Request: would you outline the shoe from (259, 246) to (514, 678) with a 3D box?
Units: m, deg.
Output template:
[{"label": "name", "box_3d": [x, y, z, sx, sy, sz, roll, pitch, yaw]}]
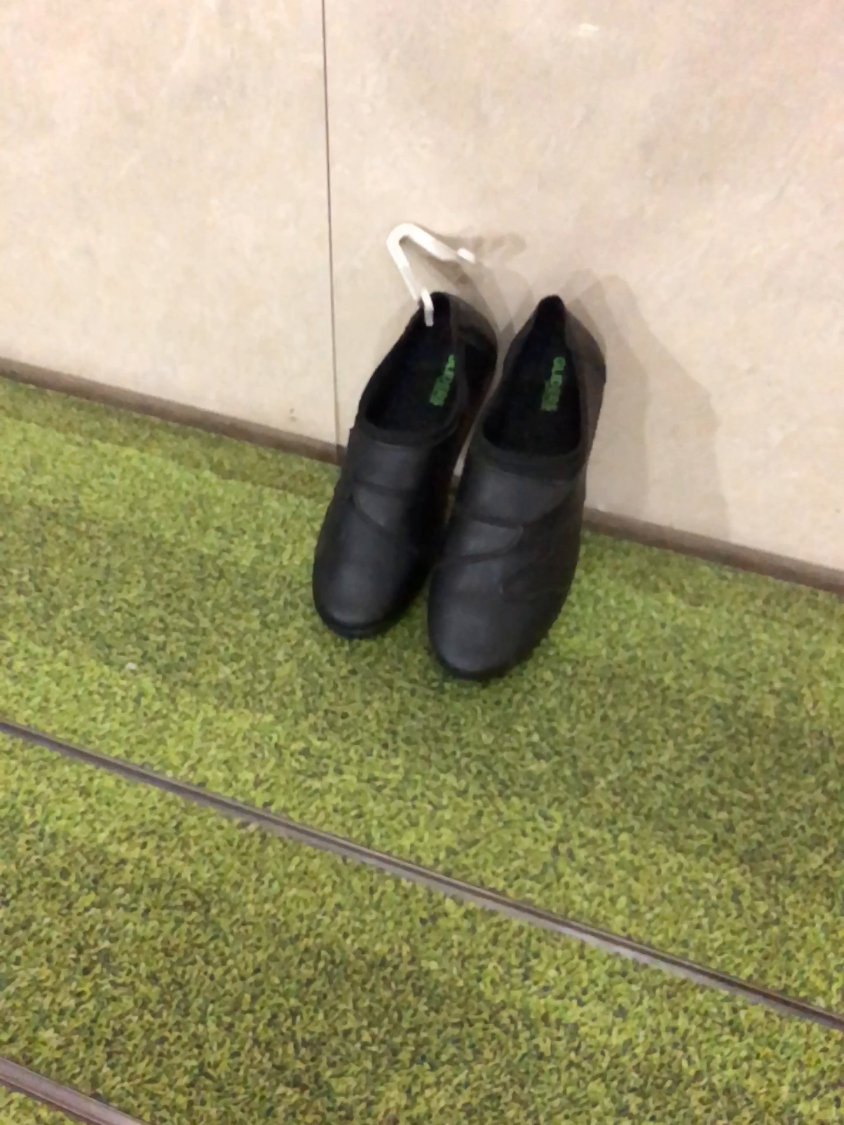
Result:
[{"label": "shoe", "box_3d": [-0.019, -0.058, 0.582, 0.080, 0.081, 0.236, 17, 95, 11]}]

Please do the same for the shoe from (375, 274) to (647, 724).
[{"label": "shoe", "box_3d": [0.056, -0.036, 0.566, 0.090, 0.081, 0.236, 17, 95, 11]}]
